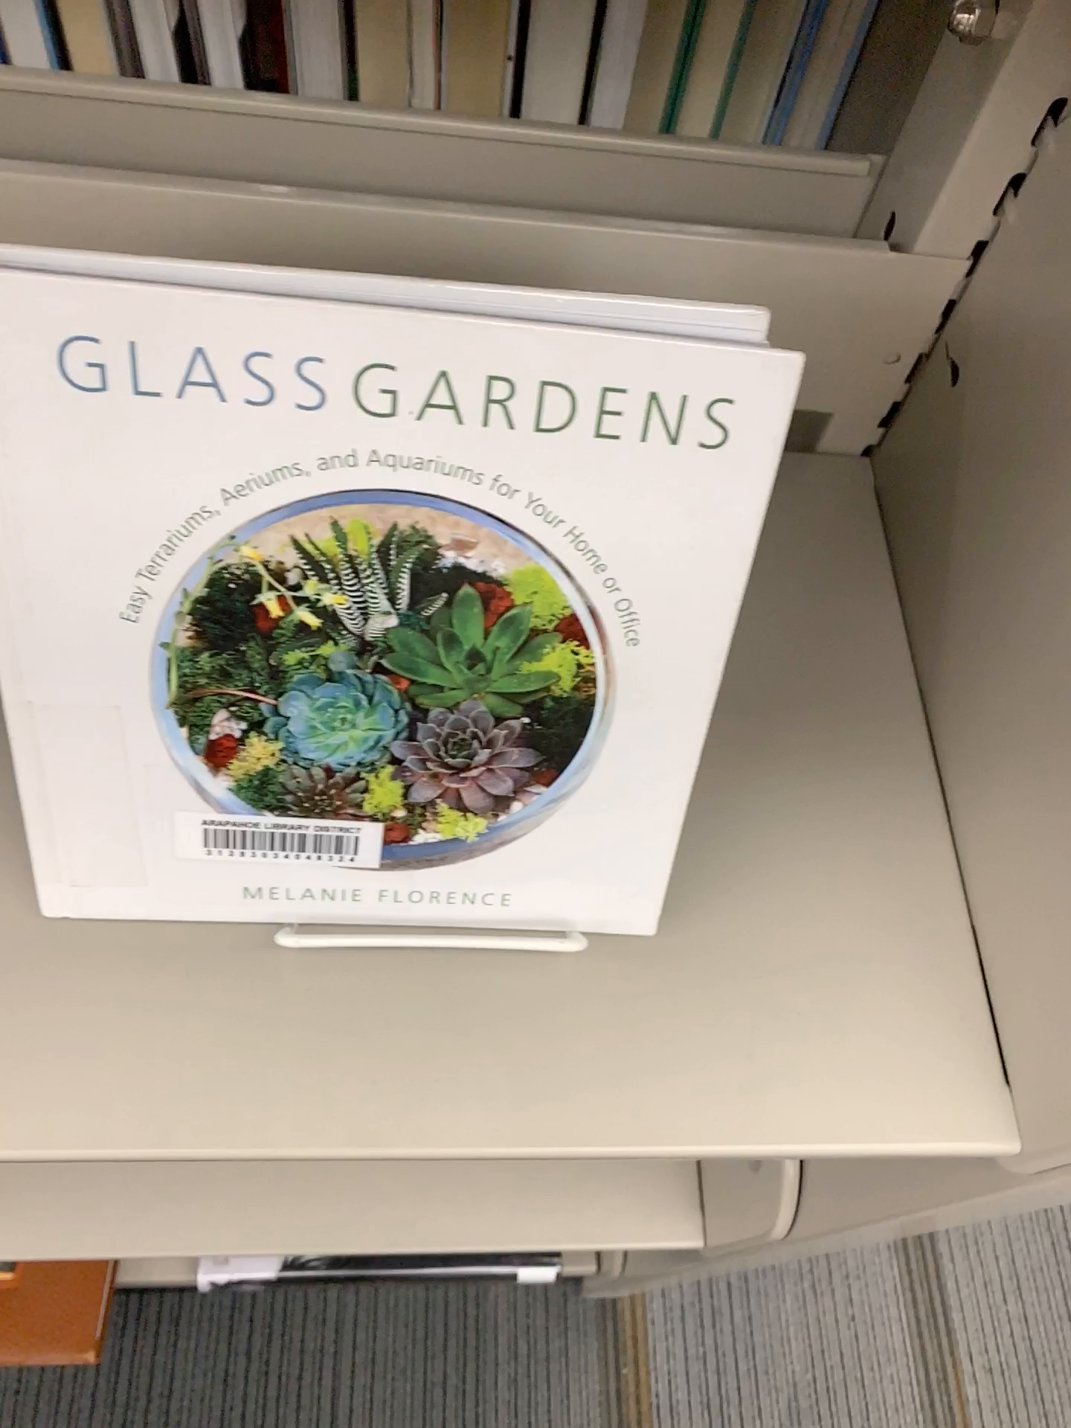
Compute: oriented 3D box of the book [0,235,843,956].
[{"bbox_3d":[-0.039,-0.013,0.273,0.180,0.174,0.030,3,36,-6],"label":"book"}]
